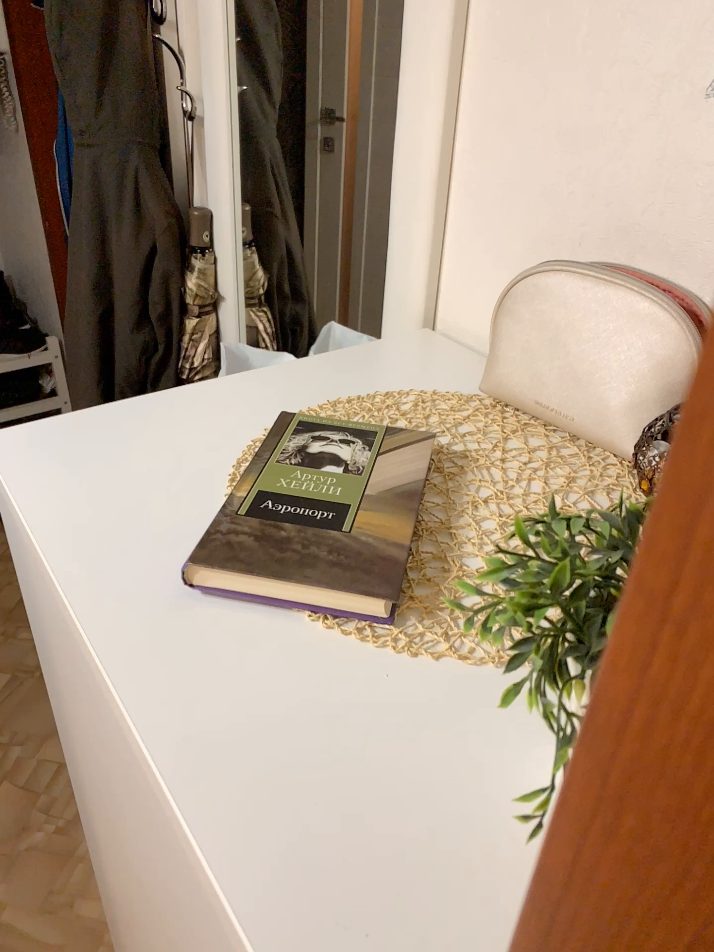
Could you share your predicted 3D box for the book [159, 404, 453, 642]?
[{"bbox_3d":[-0.020,0.017,0.525,0.150,0.020,0.232,9,33,10],"label":"book"}]
